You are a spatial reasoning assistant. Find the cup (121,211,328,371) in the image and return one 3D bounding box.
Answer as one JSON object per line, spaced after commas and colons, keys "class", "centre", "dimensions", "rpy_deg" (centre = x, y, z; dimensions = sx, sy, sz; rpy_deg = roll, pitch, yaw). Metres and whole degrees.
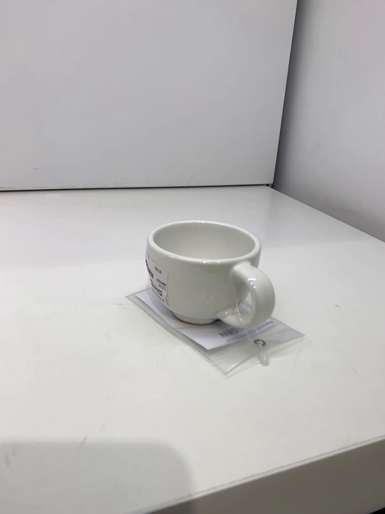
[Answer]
{"class": "cup", "centre": [0.013, 0.010, 0.210], "dimensions": [0.070, 0.040, 0.080], "rpy_deg": [-13, 28, -36]}
